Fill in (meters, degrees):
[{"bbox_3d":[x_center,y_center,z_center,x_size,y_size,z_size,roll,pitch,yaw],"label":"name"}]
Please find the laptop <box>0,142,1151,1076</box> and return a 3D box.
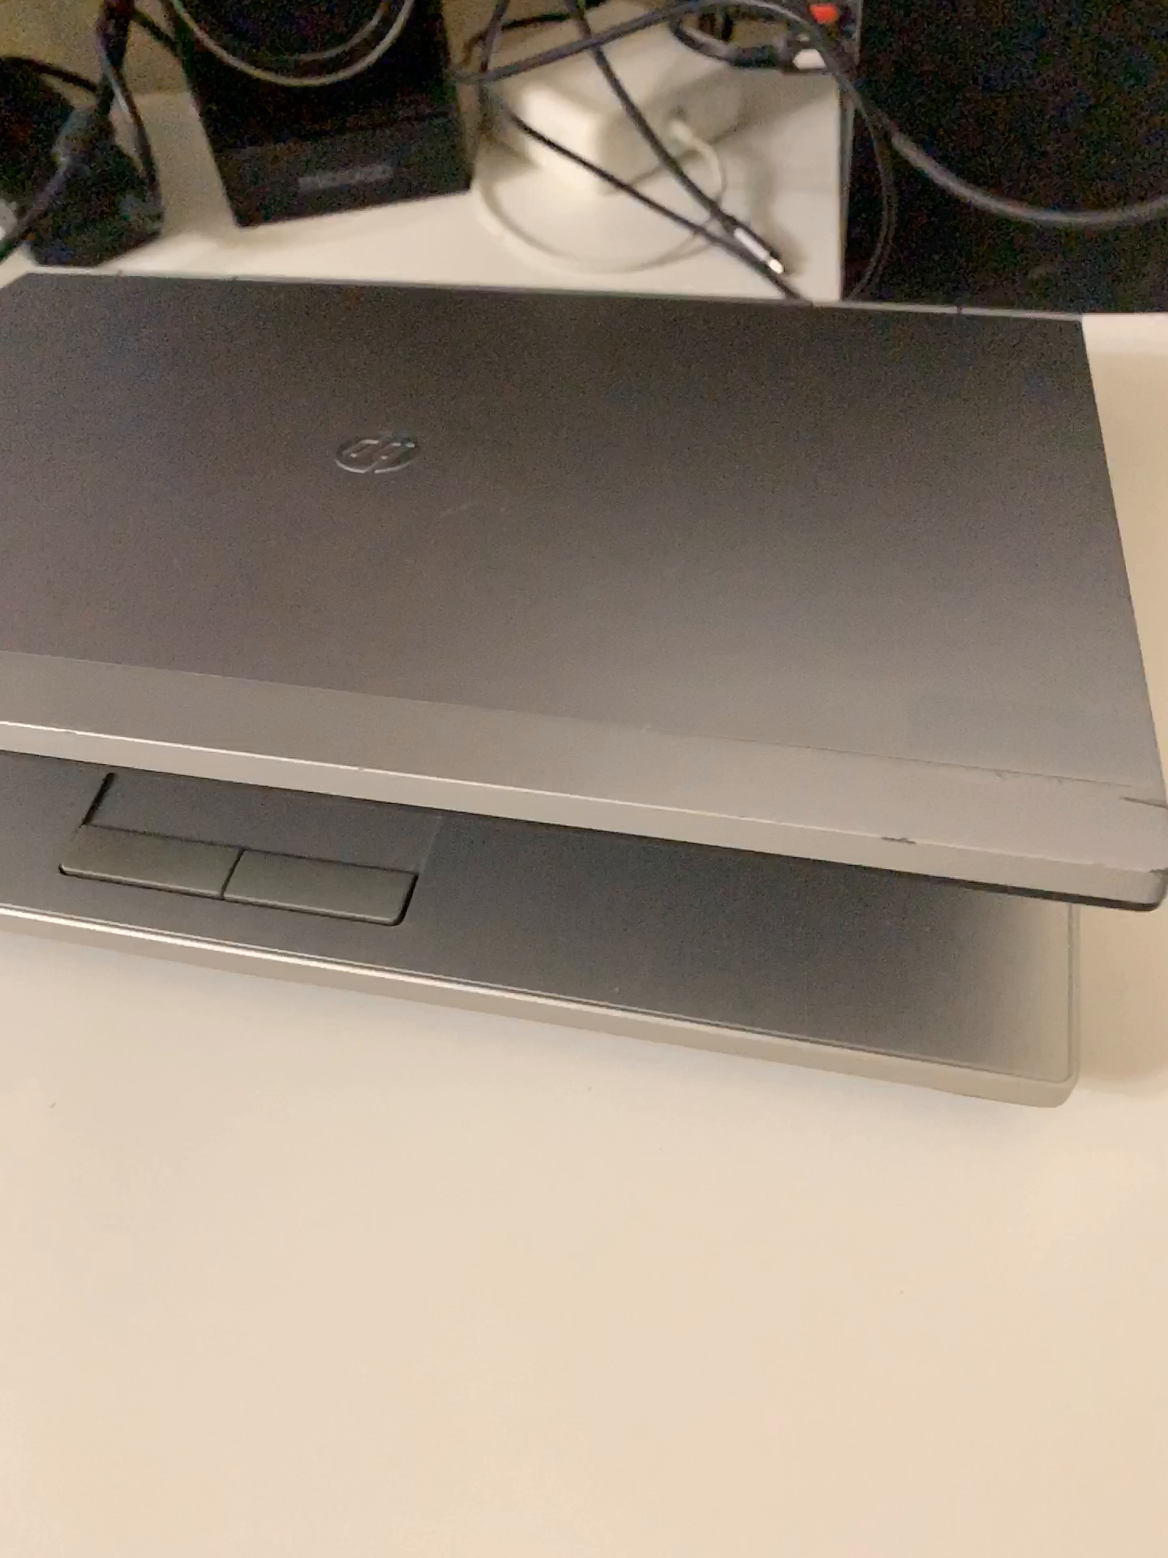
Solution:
[{"bbox_3d":[-0.041,-0.063,0.275,0.303,0.042,0.201,7,59,12],"label":"laptop"}]
